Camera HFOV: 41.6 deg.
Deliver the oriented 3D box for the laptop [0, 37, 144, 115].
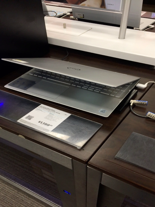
[{"bbox_3d":[-0.030,-0.111,0.684,0.393,0.107,0.229,17,44,22],"label":"laptop"}]
